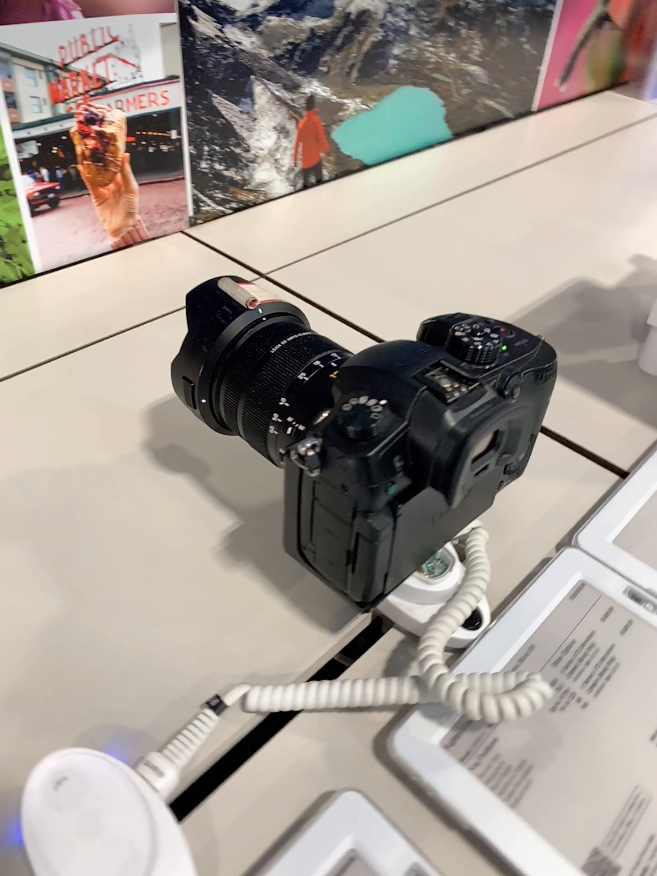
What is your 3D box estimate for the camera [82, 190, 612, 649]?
[{"bbox_3d":[0.003,-0.028,0.341,0.201,0.099,0.140,33,49,29],"label":"camera"}]
